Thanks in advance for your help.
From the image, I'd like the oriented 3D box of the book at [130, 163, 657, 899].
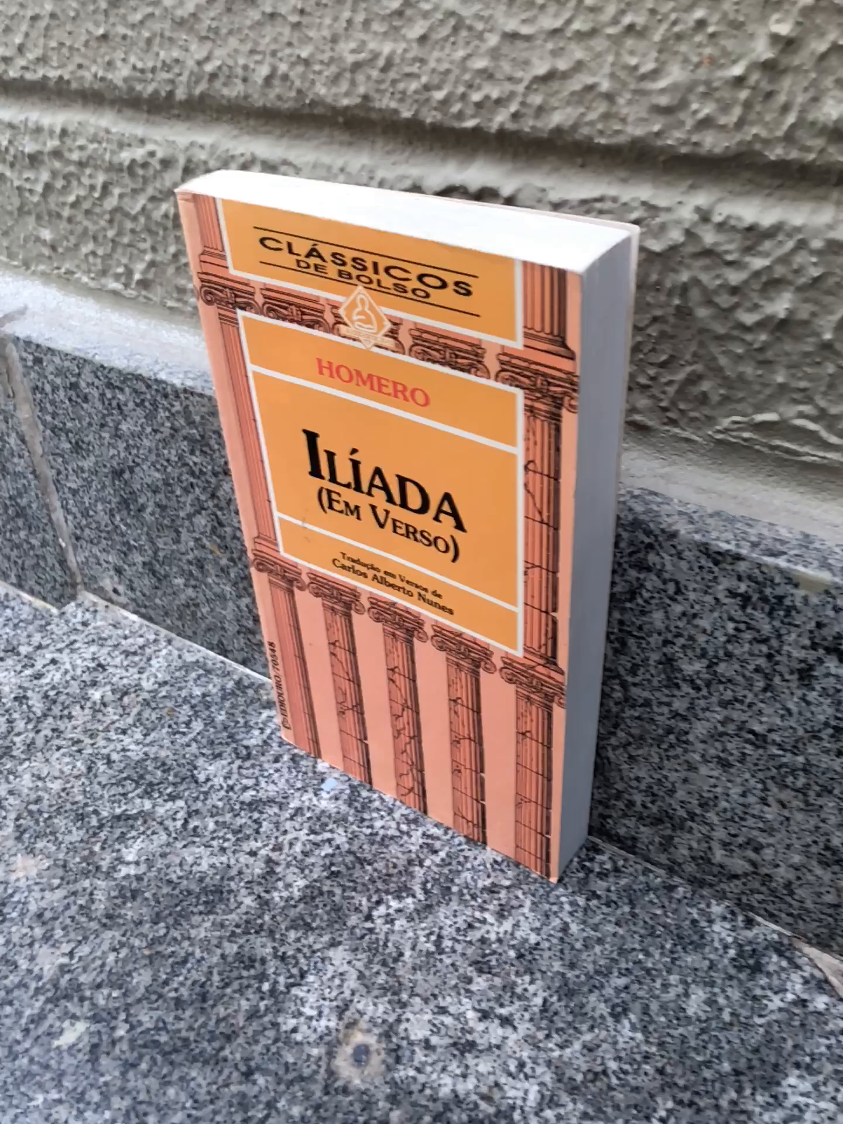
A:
[{"bbox_3d":[-0.008,-0.001,0.298,0.139,0.218,0.030,21,44,28],"label":"book"}]
